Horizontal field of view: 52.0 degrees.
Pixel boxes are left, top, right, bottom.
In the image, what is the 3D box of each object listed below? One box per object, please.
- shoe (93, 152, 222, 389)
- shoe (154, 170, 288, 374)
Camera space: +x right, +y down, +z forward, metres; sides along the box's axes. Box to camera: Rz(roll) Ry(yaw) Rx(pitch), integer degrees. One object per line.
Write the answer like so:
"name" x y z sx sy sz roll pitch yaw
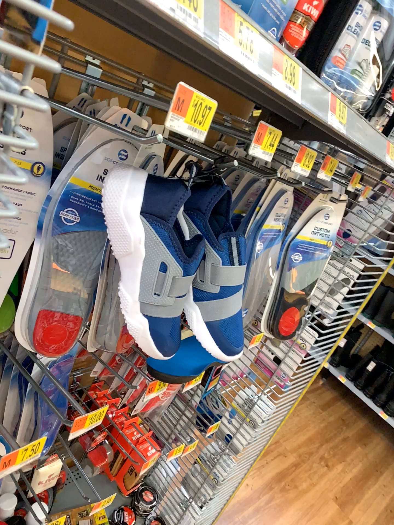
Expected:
"shoe" -0.031 0.011 0.457 0.098 0.244 0.096 -3 22 7
"shoe" 0.034 0.011 0.521 0.098 0.232 0.101 -9 2 32
